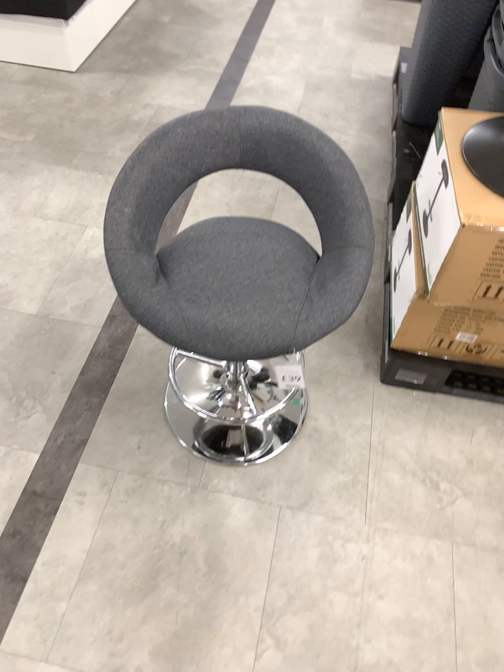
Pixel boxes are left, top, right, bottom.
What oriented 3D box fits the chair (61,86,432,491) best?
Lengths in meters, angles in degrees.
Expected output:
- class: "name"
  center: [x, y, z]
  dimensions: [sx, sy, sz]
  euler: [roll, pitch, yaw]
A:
- class: "chair"
  center: [-0.003, -0.050, 1.215]
  dimensions: [0.546, 0.788, 0.489]
  euler: [7, 53, 2]
